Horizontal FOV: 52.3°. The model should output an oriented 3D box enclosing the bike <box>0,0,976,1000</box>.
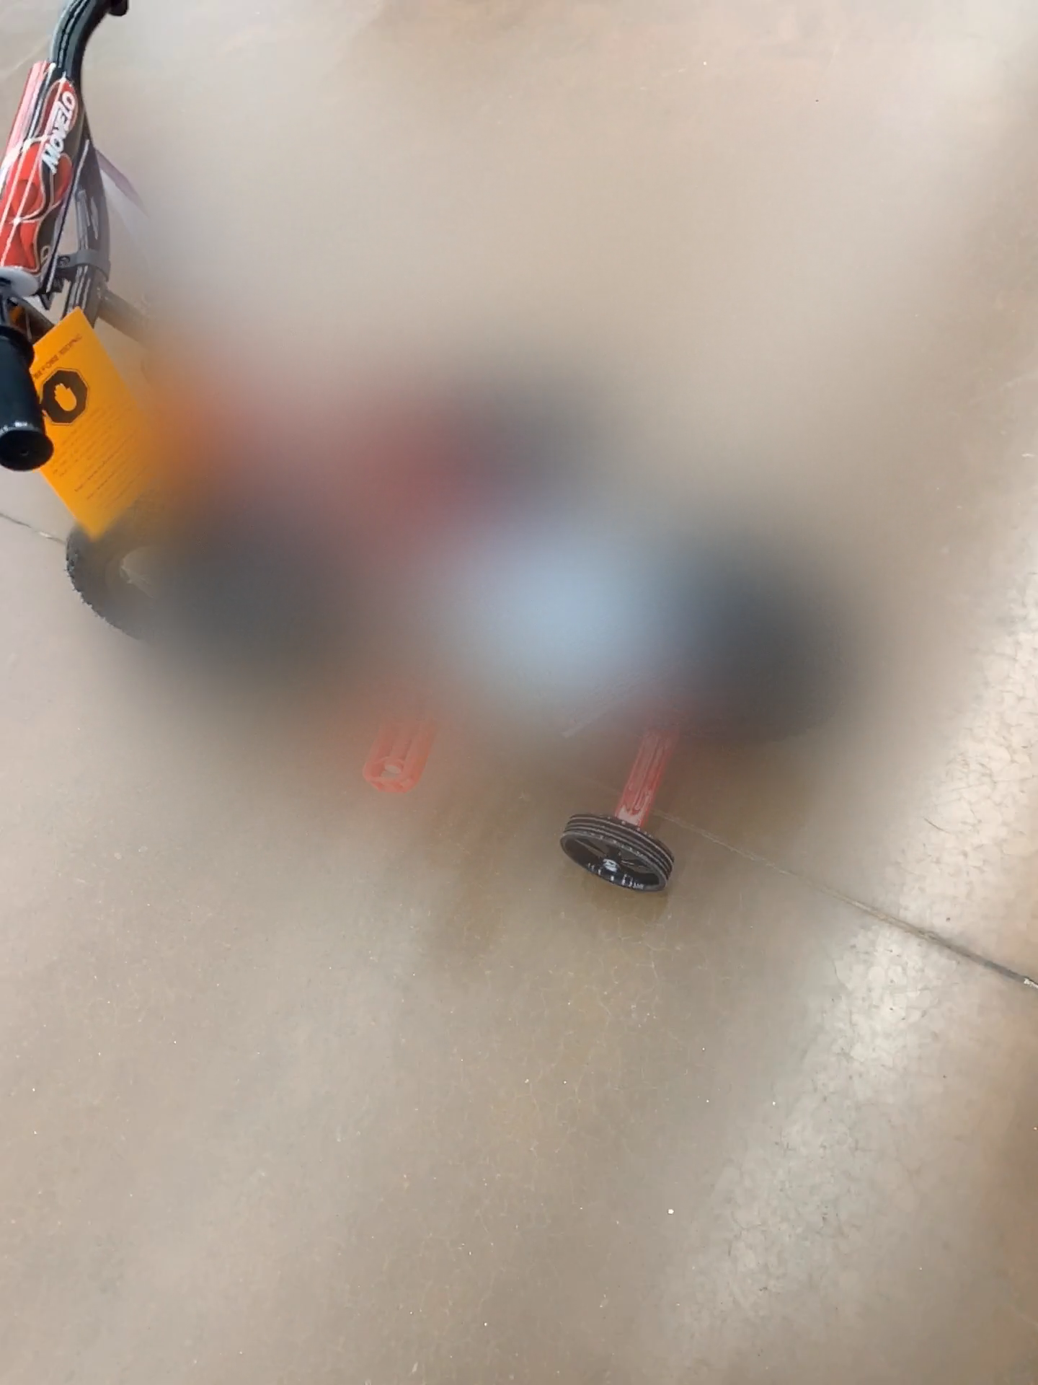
[{"bbox_3d":[-0.130,-0.166,0.764,0.736,0.605,0.440,9,60,15],"label":"bike"}]
